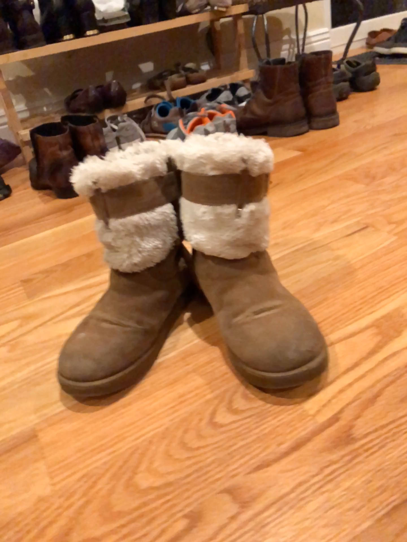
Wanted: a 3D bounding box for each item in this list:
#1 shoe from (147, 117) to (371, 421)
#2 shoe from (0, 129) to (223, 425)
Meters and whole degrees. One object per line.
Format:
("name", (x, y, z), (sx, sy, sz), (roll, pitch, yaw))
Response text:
("shoe", (0.042, -0.026, 0.455), (0.113, 0.193, 0.255), (-17, 30, -10))
("shoe", (-0.090, -0.014, 0.475), (0.106, 0.193, 0.255), (4, 33, 26))
